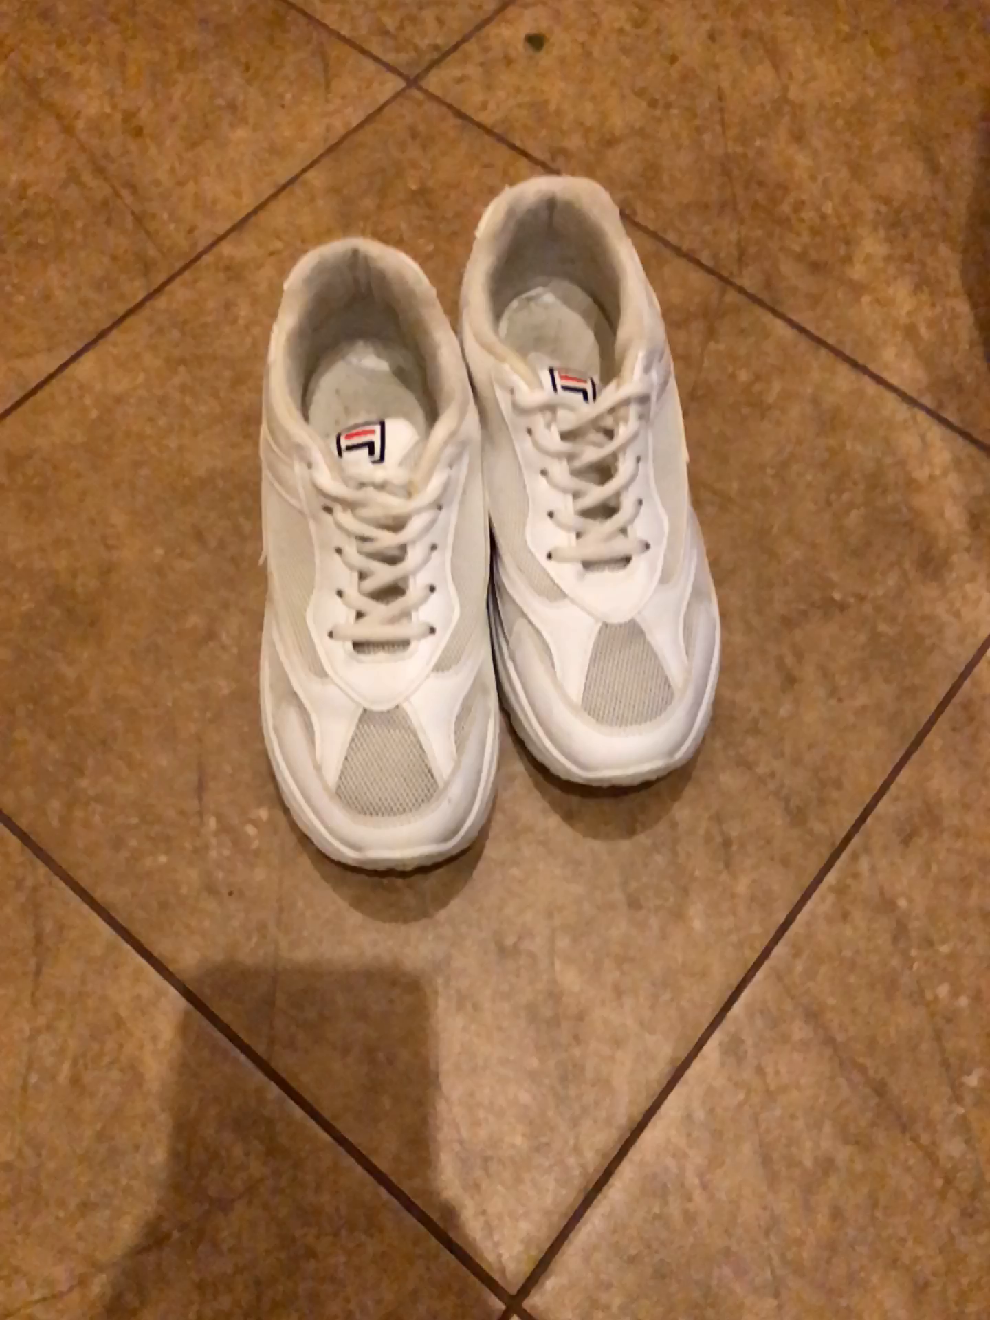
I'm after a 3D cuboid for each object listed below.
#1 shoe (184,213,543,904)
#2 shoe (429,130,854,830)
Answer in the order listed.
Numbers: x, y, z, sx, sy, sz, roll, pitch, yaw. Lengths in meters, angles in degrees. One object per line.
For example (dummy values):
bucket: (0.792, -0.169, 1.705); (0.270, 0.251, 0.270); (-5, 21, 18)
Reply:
shoe: (-0.053, -0.039, 0.432); (0.110, 0.110, 0.241); (-5, 68, -3)
shoe: (0.043, -0.073, 0.444); (0.110, 0.110, 0.251); (-6, 68, -4)
